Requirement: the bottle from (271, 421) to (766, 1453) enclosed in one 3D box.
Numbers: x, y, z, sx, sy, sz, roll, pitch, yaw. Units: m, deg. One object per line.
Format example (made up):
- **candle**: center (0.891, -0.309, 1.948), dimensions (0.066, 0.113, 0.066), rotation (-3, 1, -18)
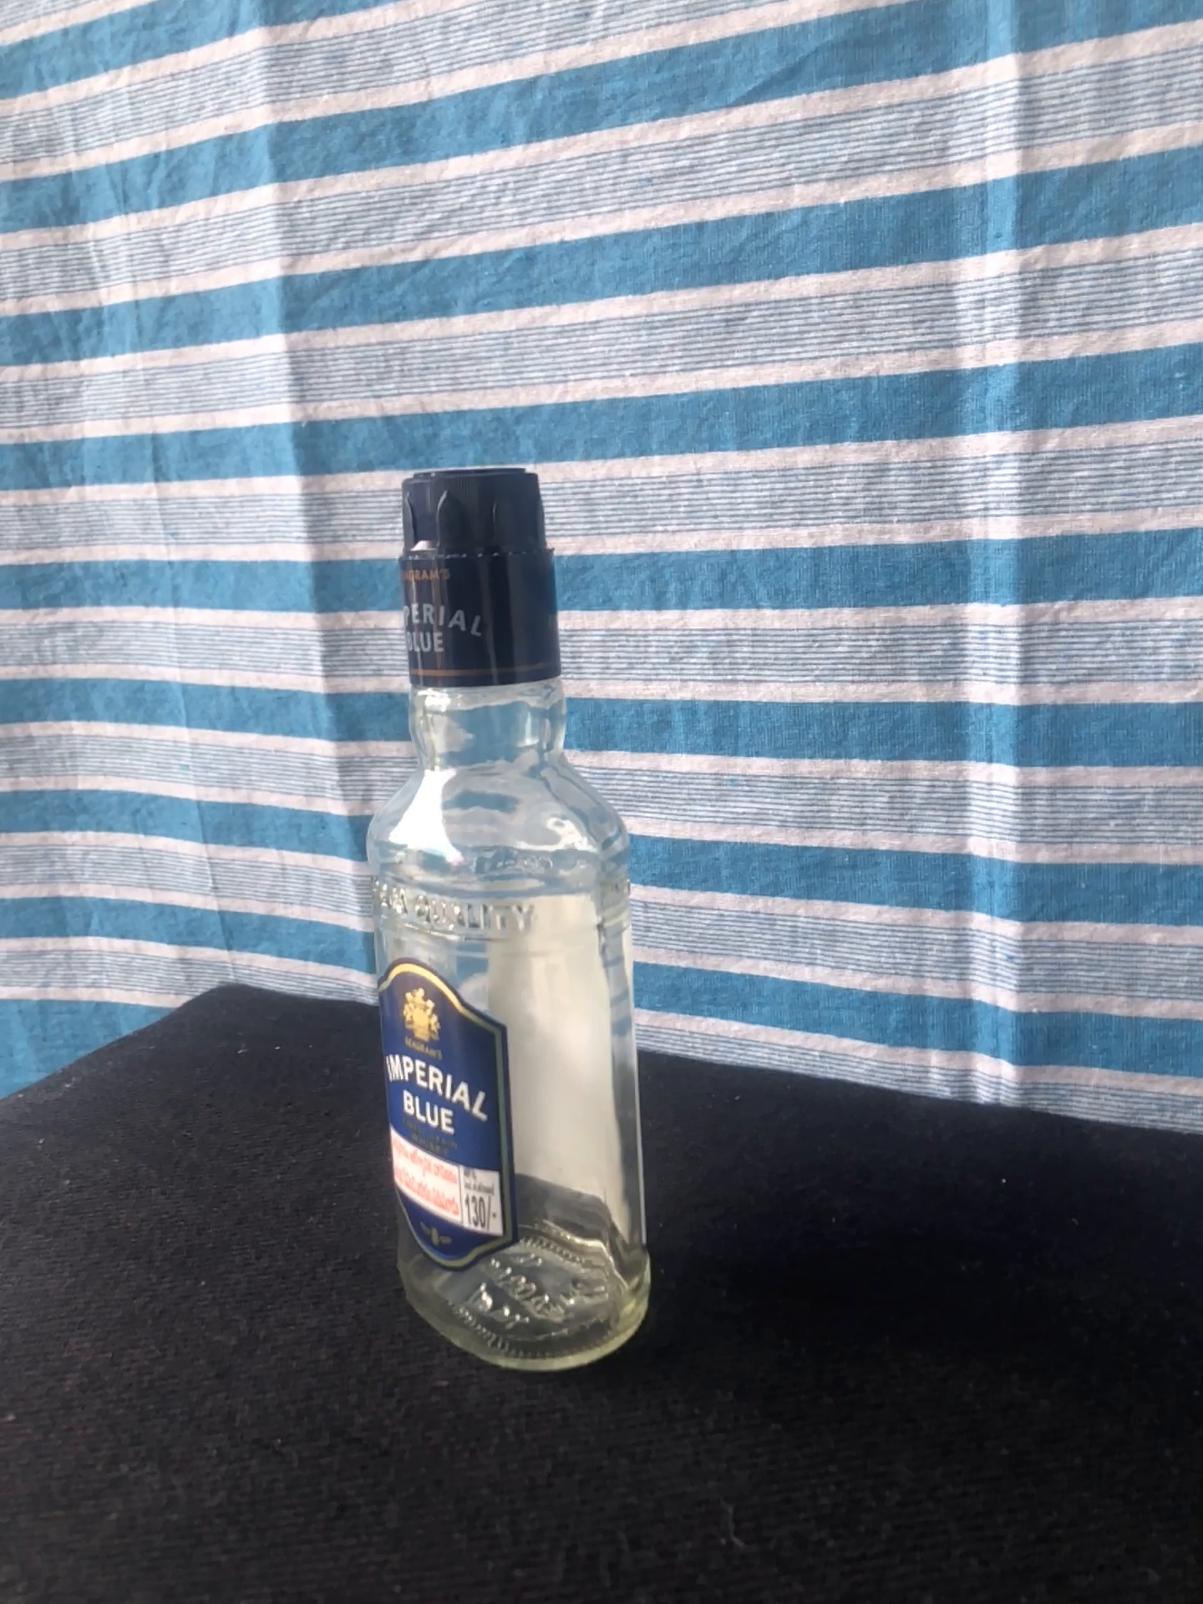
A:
- **bottle**: center (-0.013, 0.019, 0.249), dimensions (0.050, 0.169, 0.070), rotation (-15, 19, -43)
